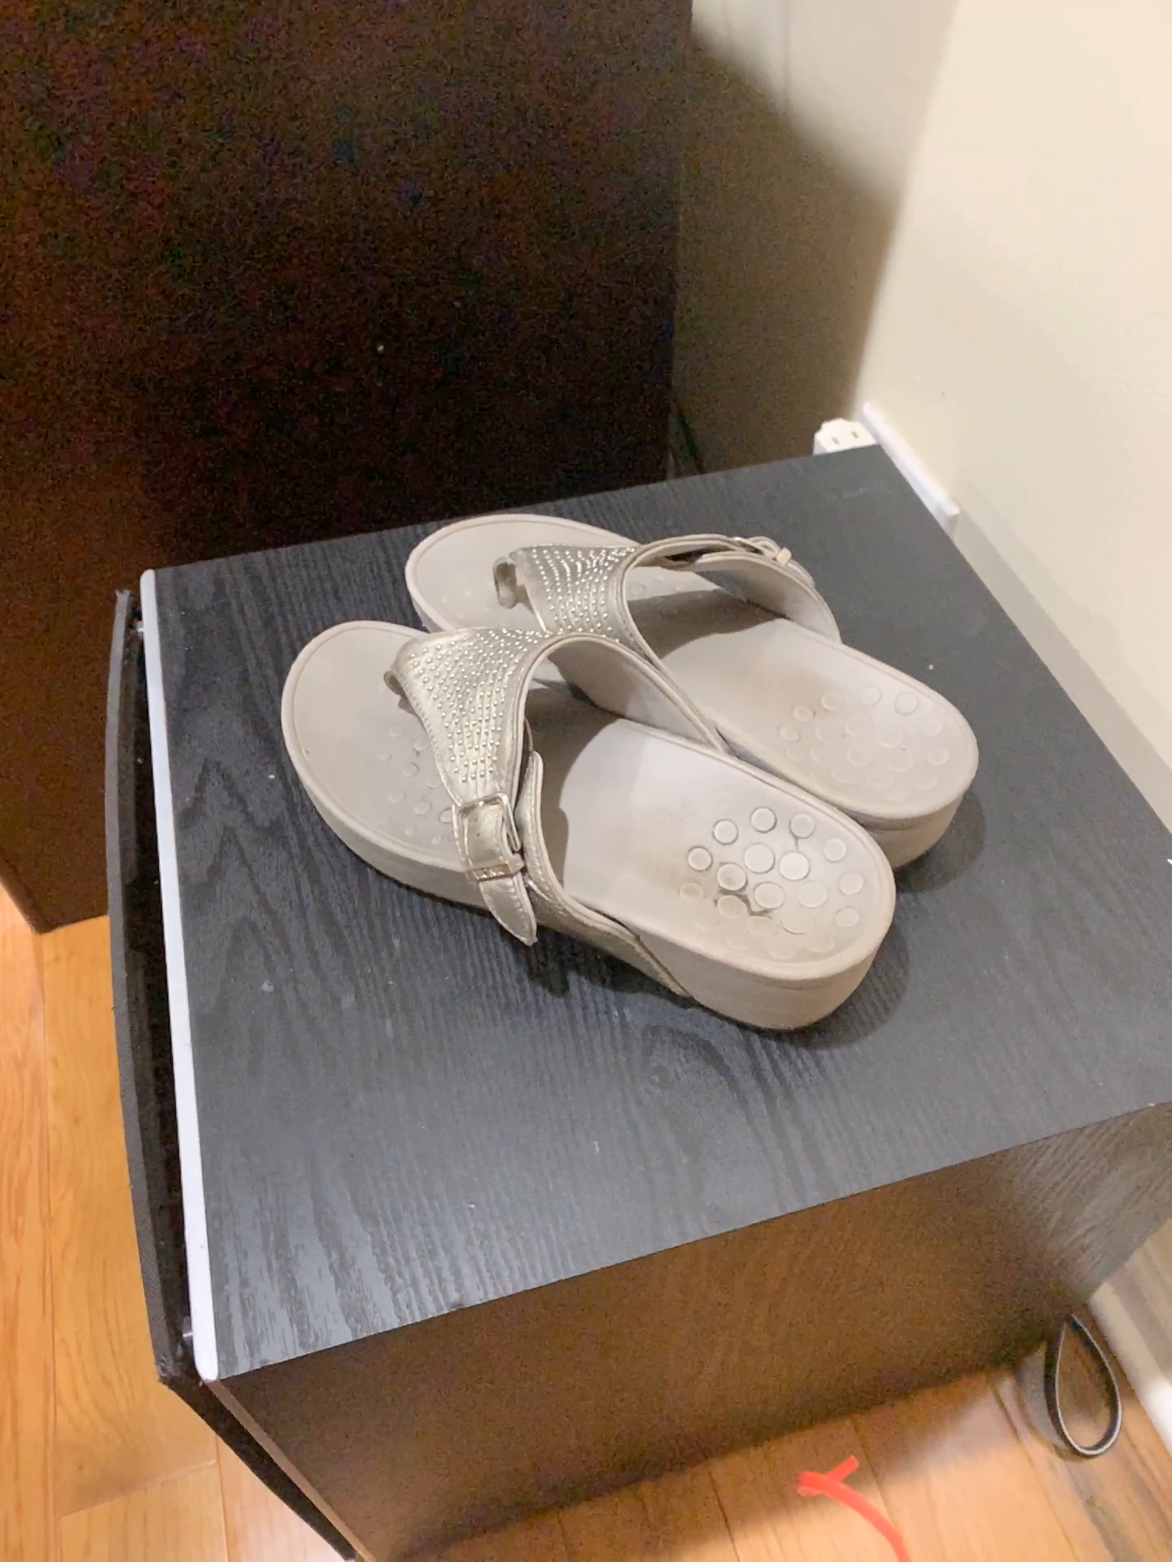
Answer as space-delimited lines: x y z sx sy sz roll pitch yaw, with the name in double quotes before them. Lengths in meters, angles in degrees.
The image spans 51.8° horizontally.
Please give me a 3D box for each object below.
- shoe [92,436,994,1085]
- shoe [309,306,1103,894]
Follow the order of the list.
"shoe" -0.015 -0.016 0.390 0.248 0.080 0.109 21 54 17
"shoe" 0.035 -0.076 0.438 0.248 0.080 0.108 27 56 21
